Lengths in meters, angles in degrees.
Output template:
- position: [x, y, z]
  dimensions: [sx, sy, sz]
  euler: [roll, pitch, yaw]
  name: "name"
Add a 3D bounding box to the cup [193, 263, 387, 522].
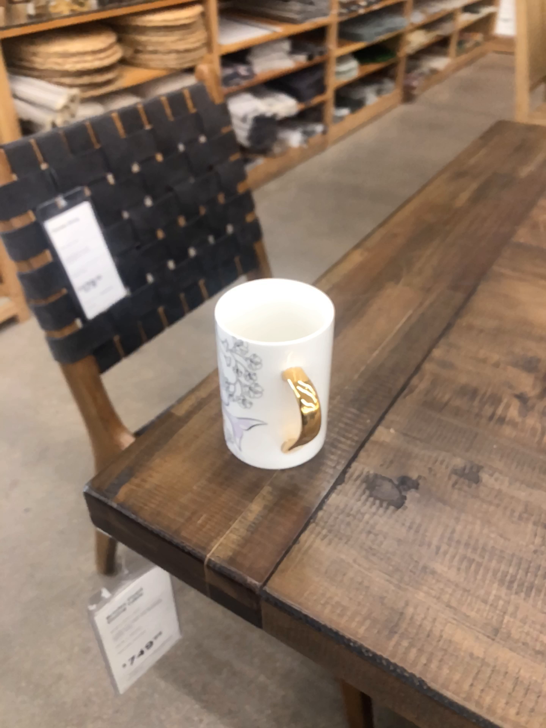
- position: [0.006, 0.015, 0.419]
  dimensions: [0.082, 0.111, 0.122]
  euler: [-14, 40, -16]
  name: "cup"
